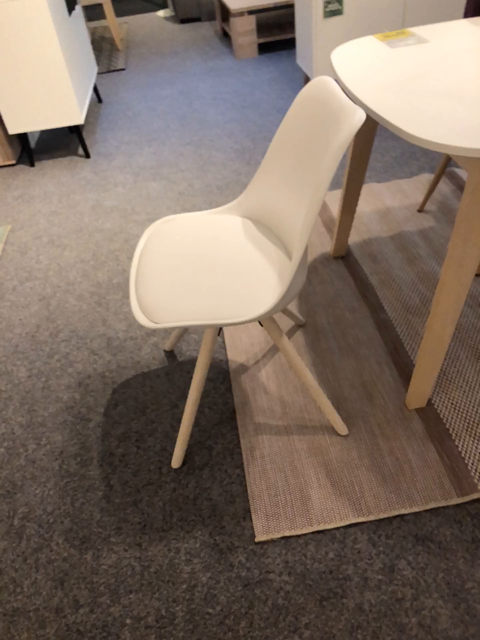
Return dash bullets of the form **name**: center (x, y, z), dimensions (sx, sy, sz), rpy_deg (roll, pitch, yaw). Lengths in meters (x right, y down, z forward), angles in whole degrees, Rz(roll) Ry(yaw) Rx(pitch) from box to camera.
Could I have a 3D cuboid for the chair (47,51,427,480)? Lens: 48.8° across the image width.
- **chair**: center (0.001, -0.121, 1.264), dimensions (0.590, 0.756, 0.553), rpy_deg (-10, 41, -2)
